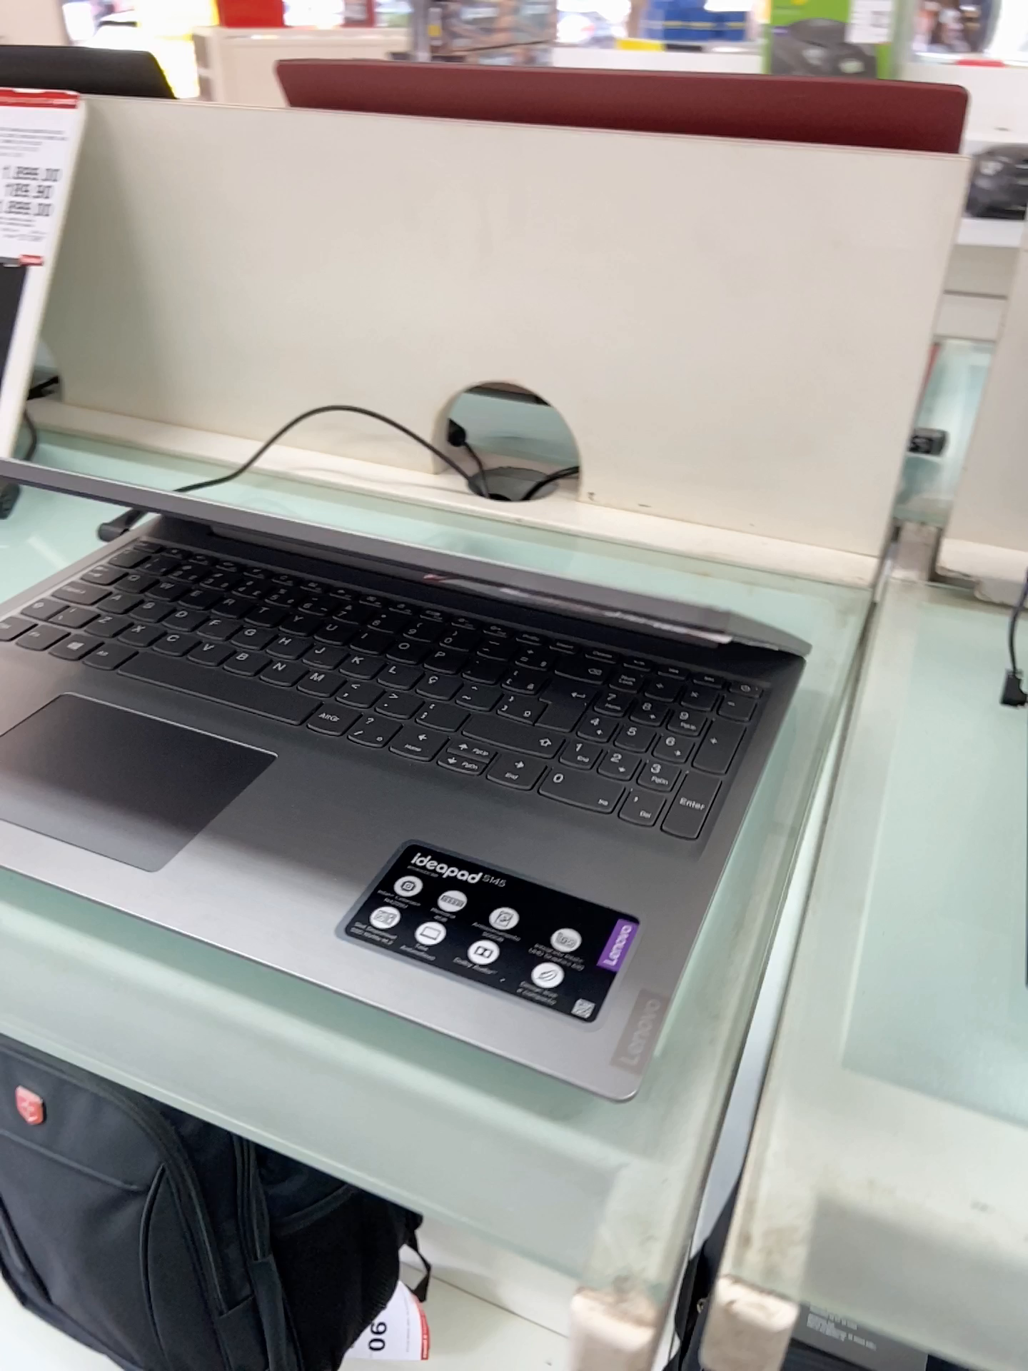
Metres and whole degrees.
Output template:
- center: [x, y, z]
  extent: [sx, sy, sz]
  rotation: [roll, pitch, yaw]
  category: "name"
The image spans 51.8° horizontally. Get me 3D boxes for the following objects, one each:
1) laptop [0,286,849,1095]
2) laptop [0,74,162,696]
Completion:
- center: [-0.087, -0.045, 0.410]
  extent: [0.363, 0.127, 0.251]
  rotation: [14, 35, 20]
  category: "laptop"
- center: [-0.517, -0.221, 0.610]
  extent: [0.410, 0.202, 0.385]
  rotation: [15, 36, 22]
  category: "laptop"
